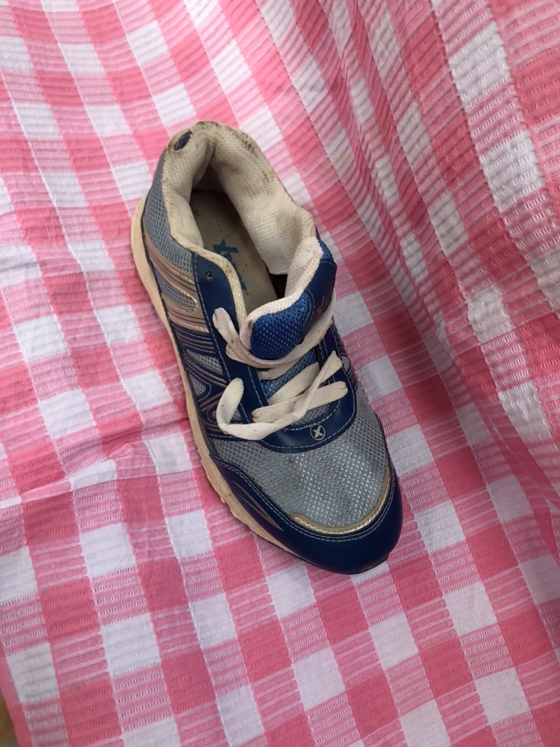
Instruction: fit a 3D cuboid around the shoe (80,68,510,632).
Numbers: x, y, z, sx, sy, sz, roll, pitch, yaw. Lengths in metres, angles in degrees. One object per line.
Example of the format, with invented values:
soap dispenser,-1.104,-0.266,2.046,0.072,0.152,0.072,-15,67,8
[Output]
shoe,-0.010,-0.019,0.348,0.110,0.100,0.280,-18,75,-25
